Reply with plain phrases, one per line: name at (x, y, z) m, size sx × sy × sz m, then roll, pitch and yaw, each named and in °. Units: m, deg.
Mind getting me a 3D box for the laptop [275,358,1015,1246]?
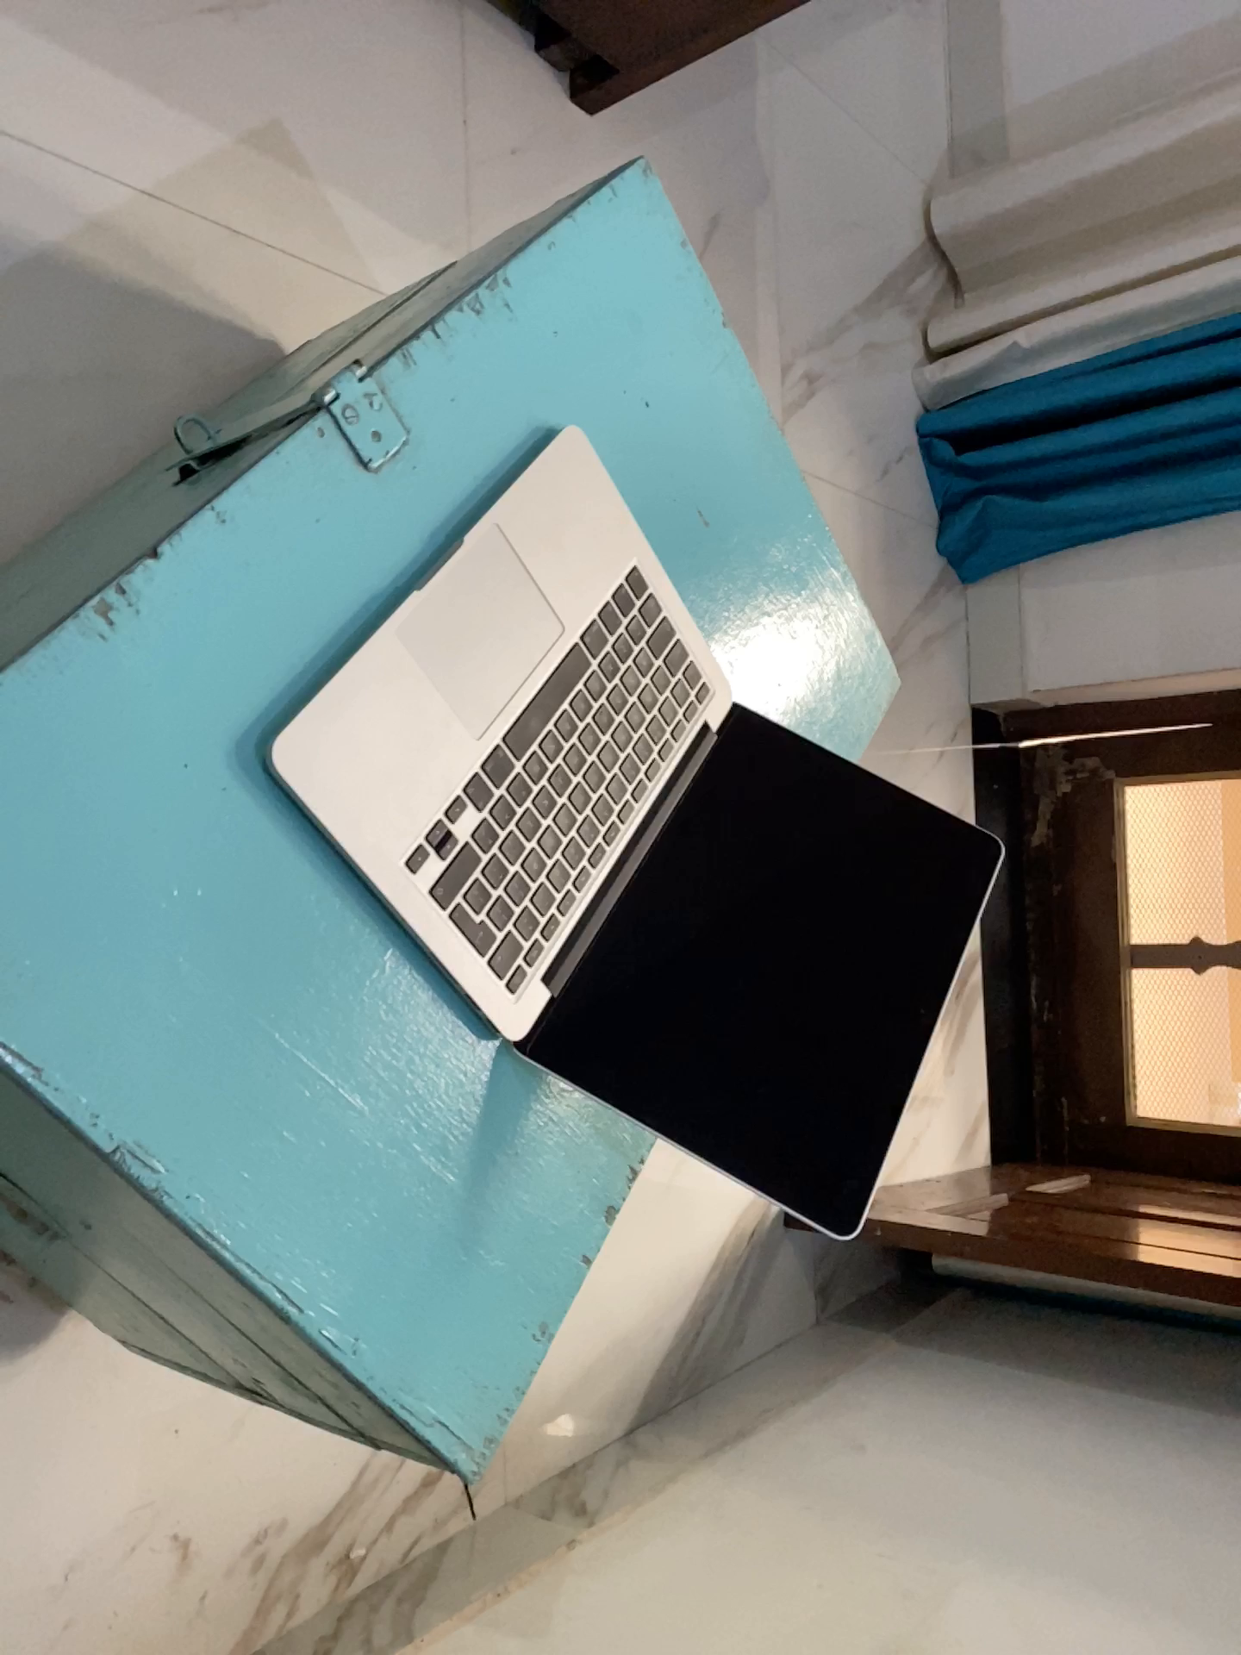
laptop at (0.054, -0.010, 0.738) m, size 0.378 × 0.148 × 0.314 m, roll 55°, pitch 49°, yaw -30°
